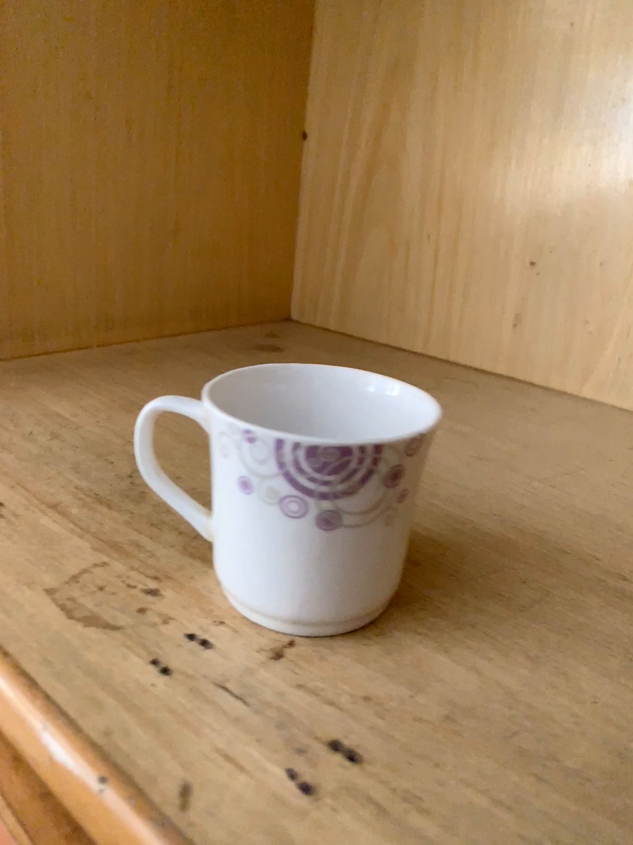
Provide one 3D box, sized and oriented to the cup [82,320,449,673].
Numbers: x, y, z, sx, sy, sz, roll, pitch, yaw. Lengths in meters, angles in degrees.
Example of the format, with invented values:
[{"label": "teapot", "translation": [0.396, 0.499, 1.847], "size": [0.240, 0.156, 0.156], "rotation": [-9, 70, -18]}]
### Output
[{"label": "cup", "translation": [-0.011, 0.015, 0.200], "size": [0.090, 0.070, 0.070], "rotation": [8, 20, 8]}]
